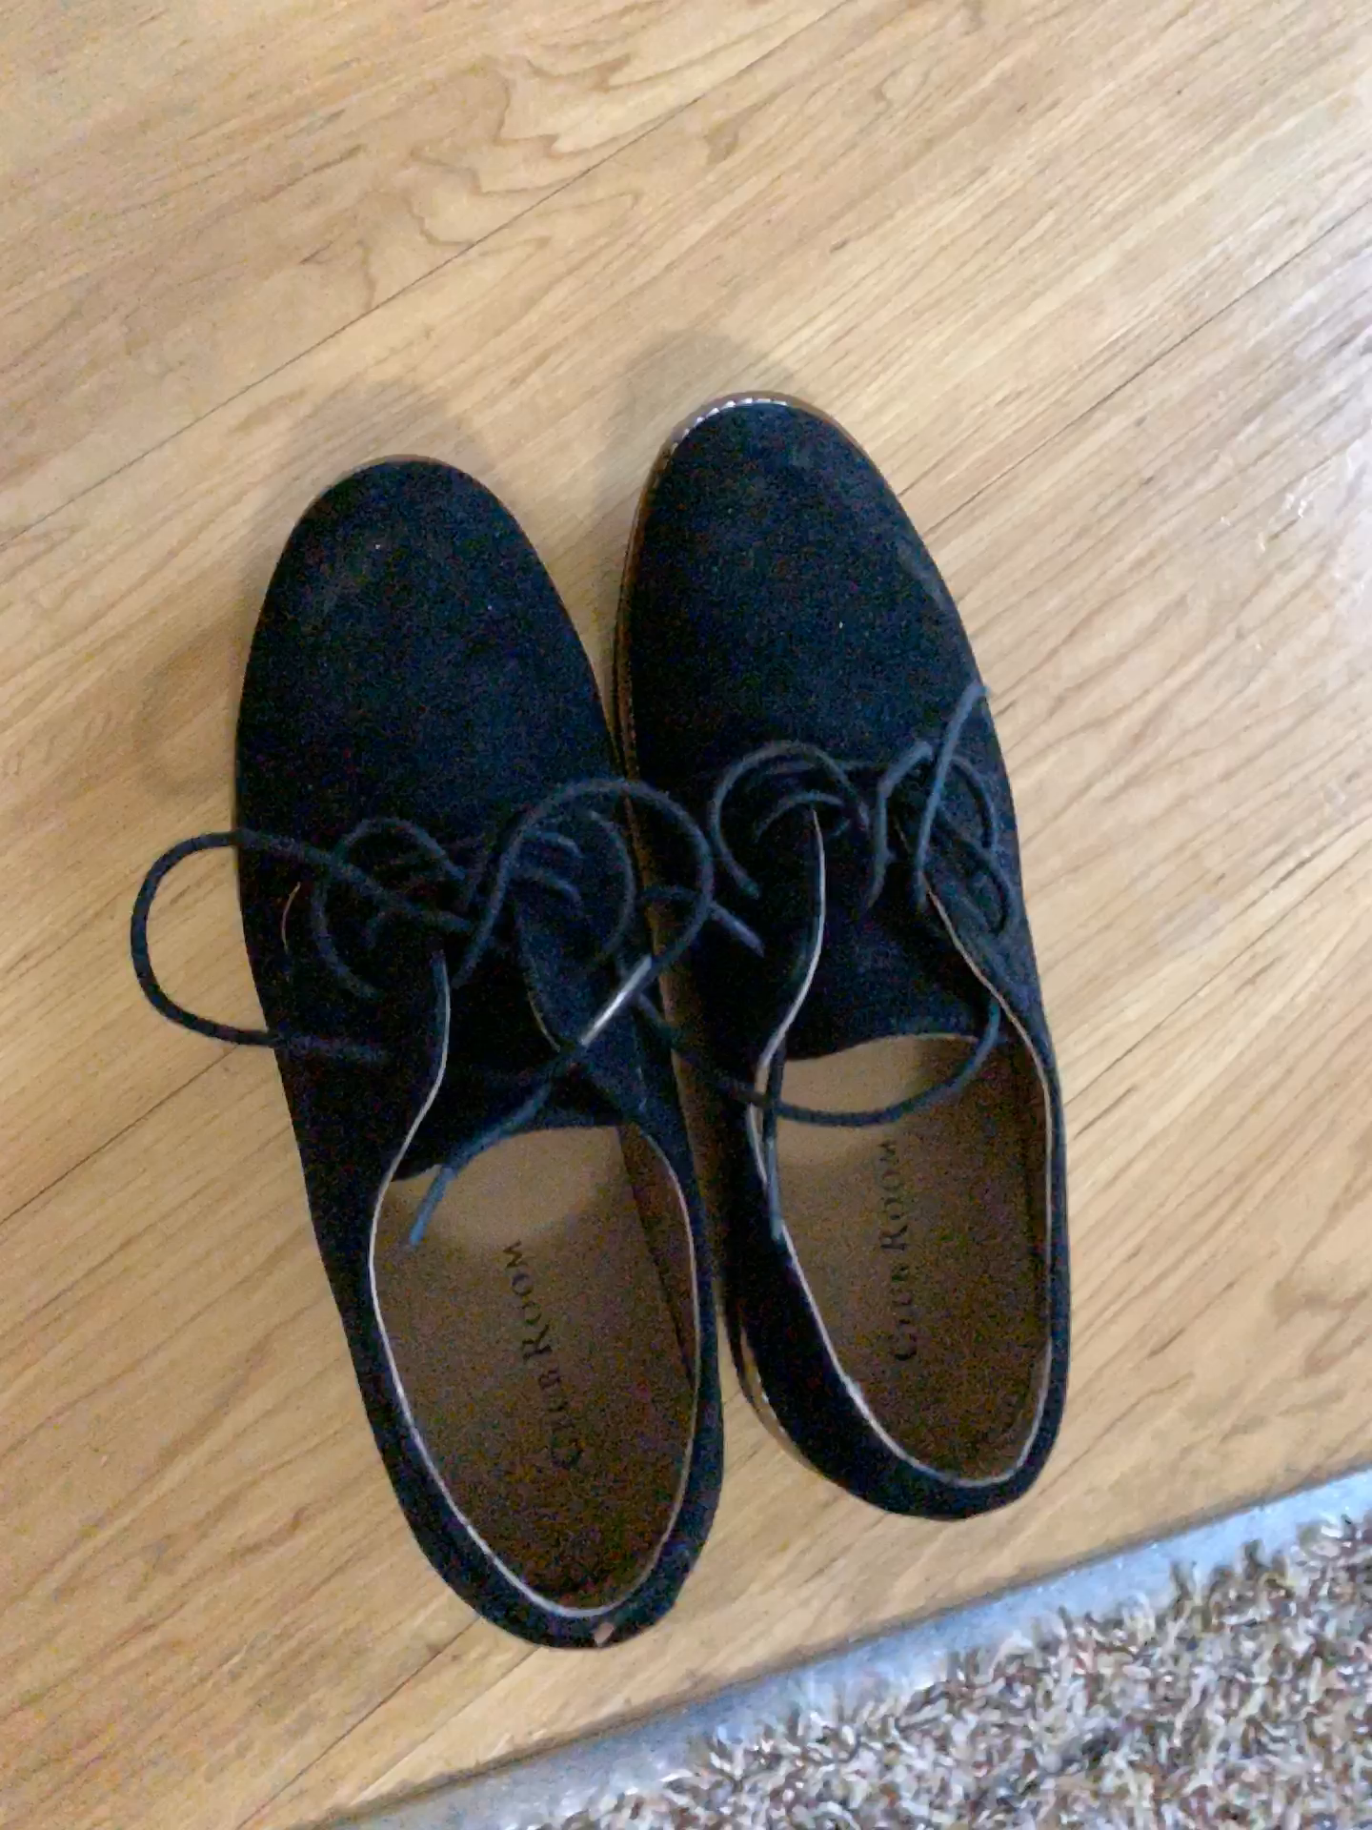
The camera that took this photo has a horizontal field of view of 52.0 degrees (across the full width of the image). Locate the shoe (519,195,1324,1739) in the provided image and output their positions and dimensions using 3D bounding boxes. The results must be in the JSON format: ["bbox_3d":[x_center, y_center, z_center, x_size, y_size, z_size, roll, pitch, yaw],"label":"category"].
[{"bbox_3d":[0.040,-0.001,0.326,0.110,0.070,0.310,-9,80,-7],"label":"shoe"}]

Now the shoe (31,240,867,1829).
[{"bbox_3d":[-0.056,0.016,0.315,0.100,0.070,0.310,-13,81,-8],"label":"shoe"}]
